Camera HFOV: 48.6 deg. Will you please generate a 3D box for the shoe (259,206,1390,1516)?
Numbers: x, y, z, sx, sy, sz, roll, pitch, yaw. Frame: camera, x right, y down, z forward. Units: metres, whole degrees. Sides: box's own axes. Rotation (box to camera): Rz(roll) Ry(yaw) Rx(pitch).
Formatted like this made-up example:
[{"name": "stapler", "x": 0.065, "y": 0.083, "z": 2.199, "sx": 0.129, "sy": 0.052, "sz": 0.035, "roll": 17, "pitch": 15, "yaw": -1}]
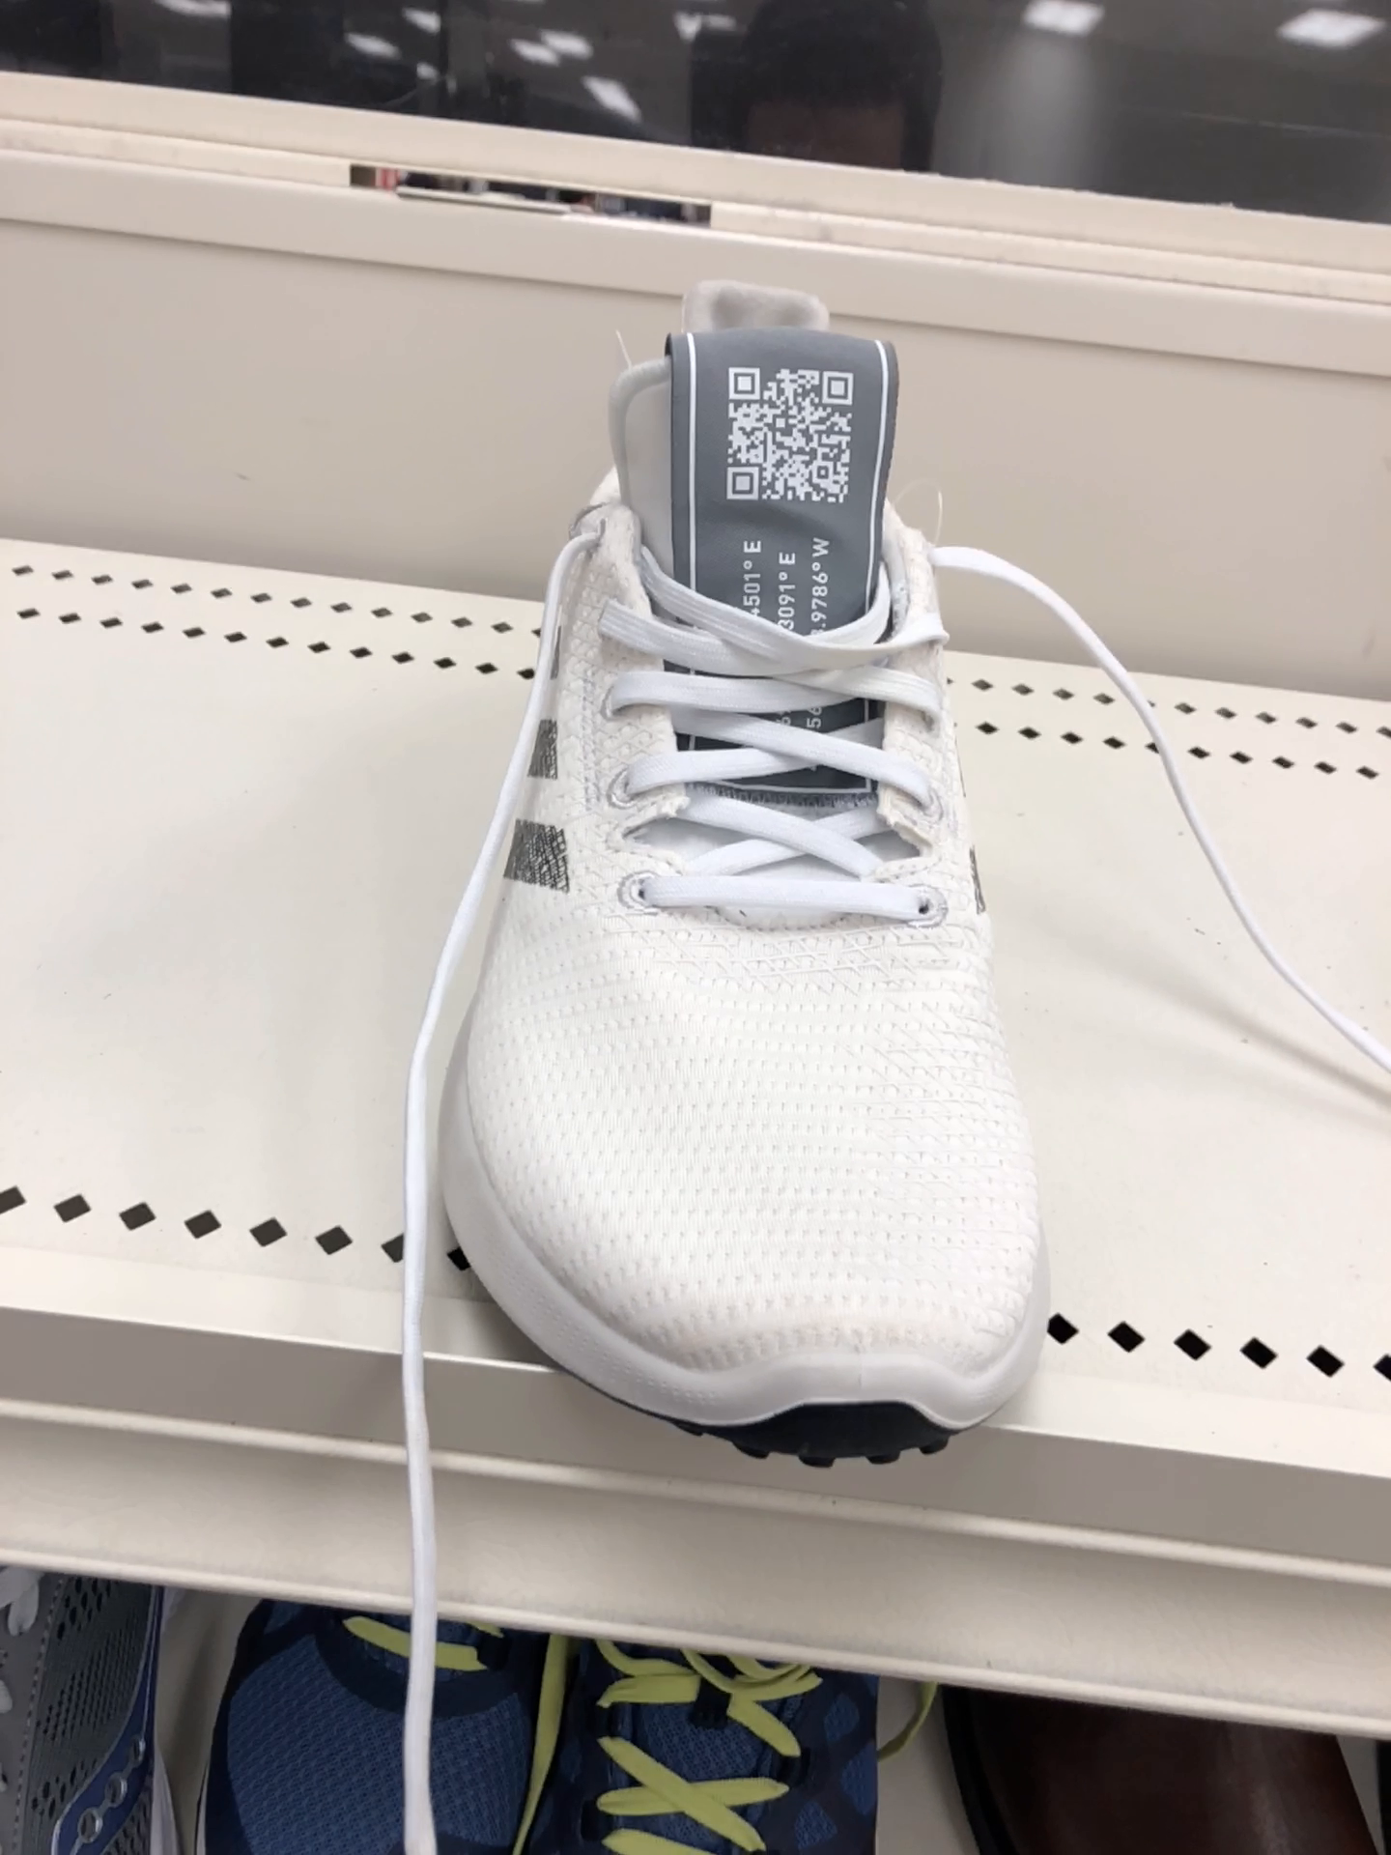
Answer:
[{"name": "shoe", "x": 0.006, "y": -0.071, "z": 0.353, "sx": 0.128, "sy": 0.139, "sz": 0.383, "roll": 4, "pitch": 28, "yaw": -5}]
